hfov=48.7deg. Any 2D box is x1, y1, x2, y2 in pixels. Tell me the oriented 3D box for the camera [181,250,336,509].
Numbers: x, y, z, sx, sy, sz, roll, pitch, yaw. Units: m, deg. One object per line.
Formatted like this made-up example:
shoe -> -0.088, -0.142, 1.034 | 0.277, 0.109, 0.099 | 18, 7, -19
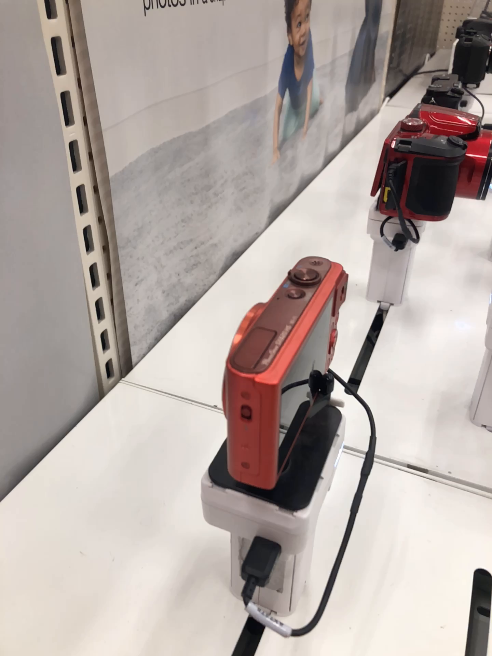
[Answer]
camera -> 0.010, 0.016, 0.249 | 0.030, 0.060, 0.111 | 12, 35, 17
